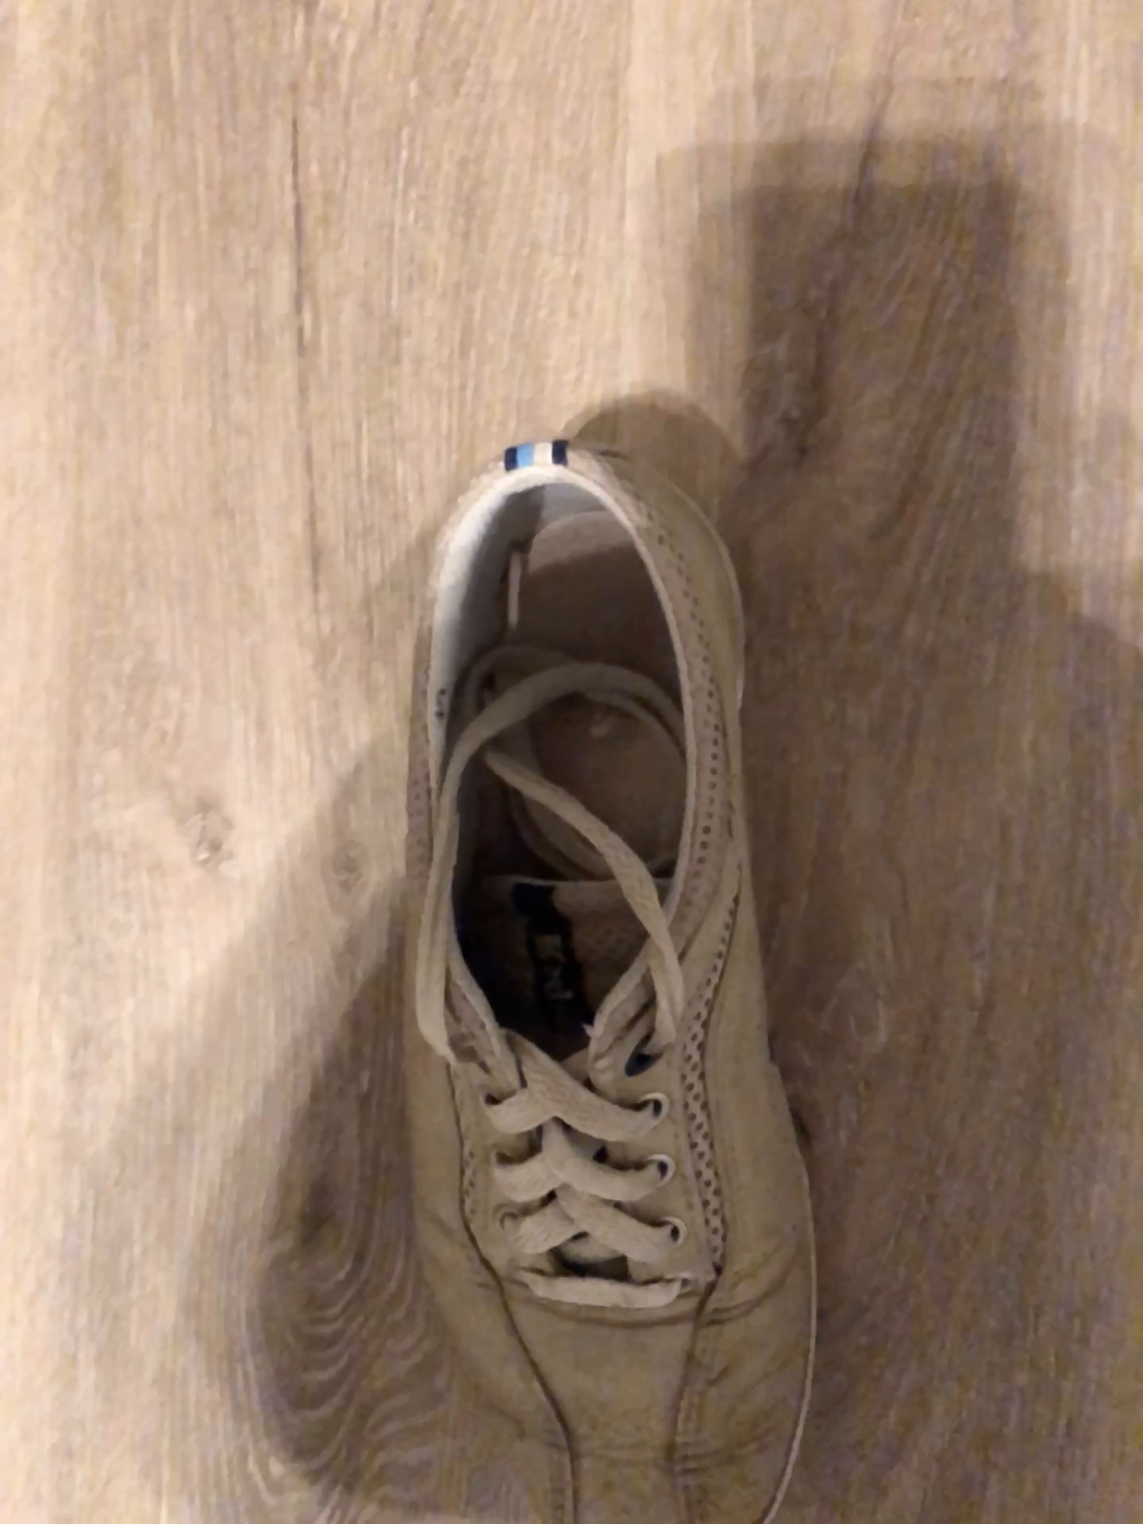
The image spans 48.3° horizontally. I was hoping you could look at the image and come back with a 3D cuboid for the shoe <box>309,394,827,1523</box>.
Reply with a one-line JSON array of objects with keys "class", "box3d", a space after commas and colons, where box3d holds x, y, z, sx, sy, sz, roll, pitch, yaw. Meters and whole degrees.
[{"class": "shoe", "box3d": [0.004, 0.061, 0.270, 0.090, 0.070, 0.250, -2, 90, 13]}]
